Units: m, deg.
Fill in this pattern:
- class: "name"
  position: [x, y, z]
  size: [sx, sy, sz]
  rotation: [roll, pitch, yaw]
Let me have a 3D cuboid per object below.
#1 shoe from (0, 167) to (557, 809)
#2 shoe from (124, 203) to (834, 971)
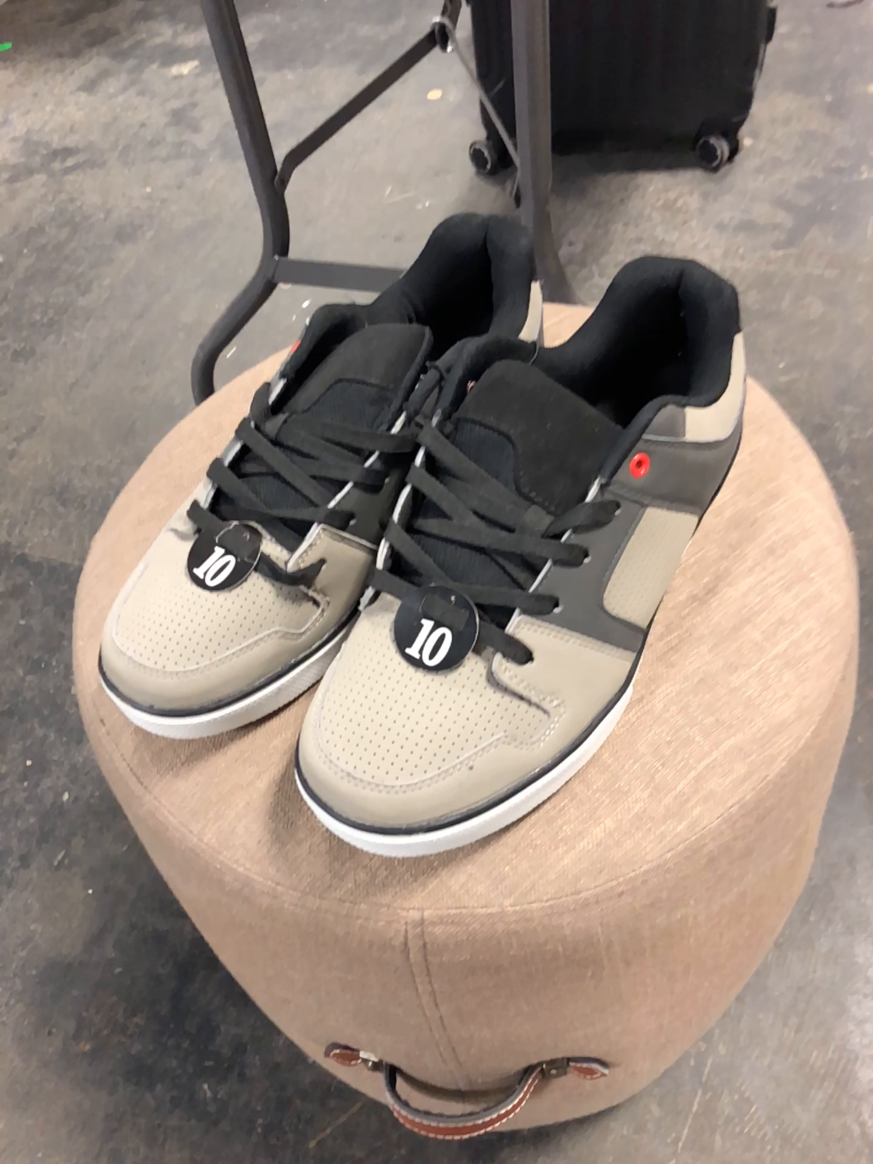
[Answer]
- class: "shoe"
  position: [-0.069, -0.056, 0.434]
  size: [0.120, 0.119, 0.261]
  rotation: [27, 60, 27]
- class: "shoe"
  position: [0.039, -0.022, 0.402]
  size: [0.120, 0.099, 0.311]
  rotation: [24, 59, 26]
